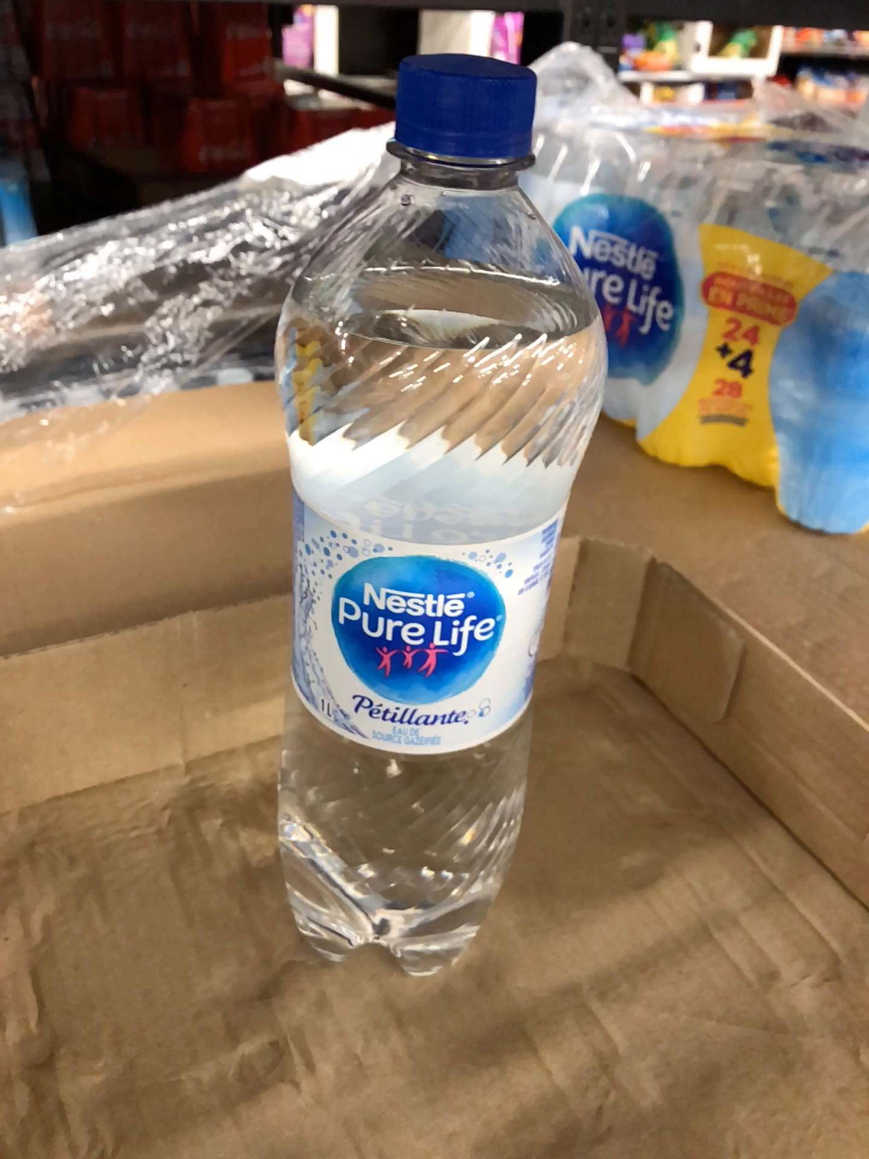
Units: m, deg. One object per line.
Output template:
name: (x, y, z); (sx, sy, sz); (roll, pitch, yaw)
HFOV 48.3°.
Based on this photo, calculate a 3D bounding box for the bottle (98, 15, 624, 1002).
bottle: (-0.018, -0.008, 0.298); (0.100, 0.278, 0.101); (3, 32, -2)
